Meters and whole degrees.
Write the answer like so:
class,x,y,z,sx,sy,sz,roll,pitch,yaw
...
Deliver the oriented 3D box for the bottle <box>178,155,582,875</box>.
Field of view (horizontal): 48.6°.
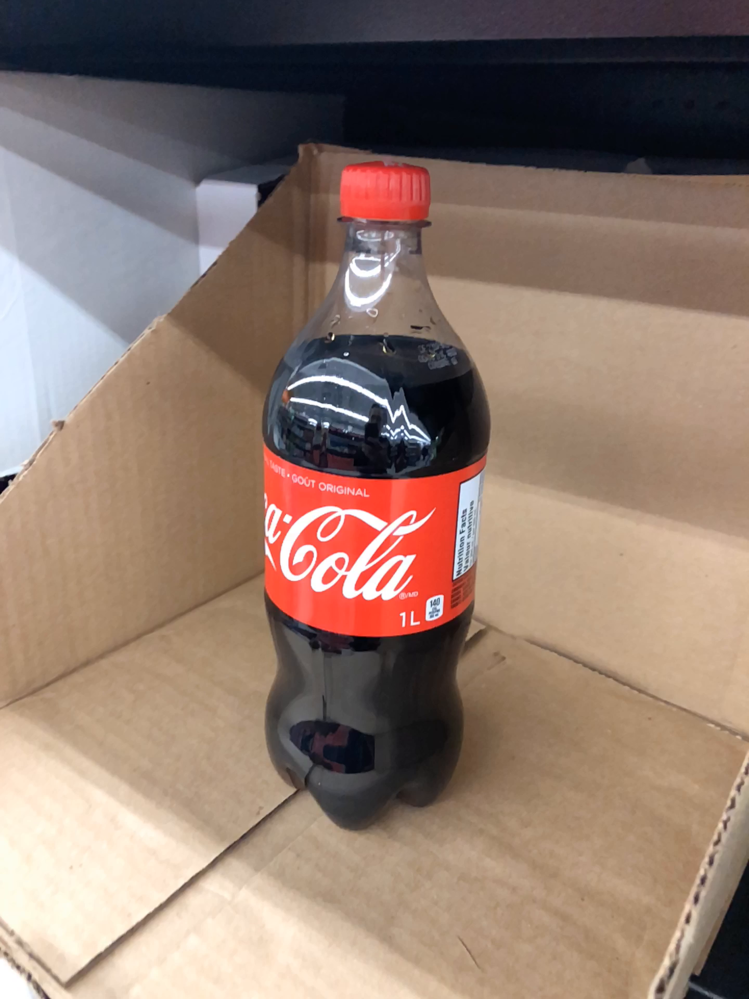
class,x,y,z,sx,sy,sz,roll,pitch,yaw
bottle,-0.002,0.002,0.327,0.090,0.248,0.100,-20,33,-39
